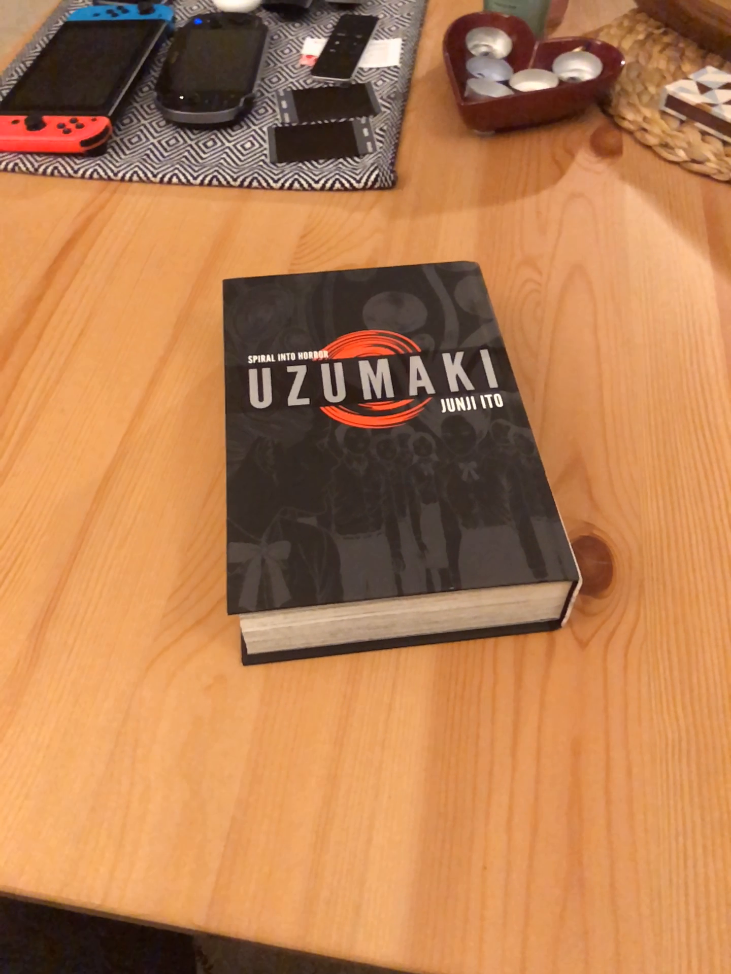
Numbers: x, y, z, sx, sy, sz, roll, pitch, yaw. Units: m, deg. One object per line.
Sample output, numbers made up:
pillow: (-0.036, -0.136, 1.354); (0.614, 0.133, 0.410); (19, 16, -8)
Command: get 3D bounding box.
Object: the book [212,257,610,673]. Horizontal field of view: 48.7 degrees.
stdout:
book: (0.007, -0.023, 0.394); (0.156, 0.048, 0.205); (-5, 53, -4)
